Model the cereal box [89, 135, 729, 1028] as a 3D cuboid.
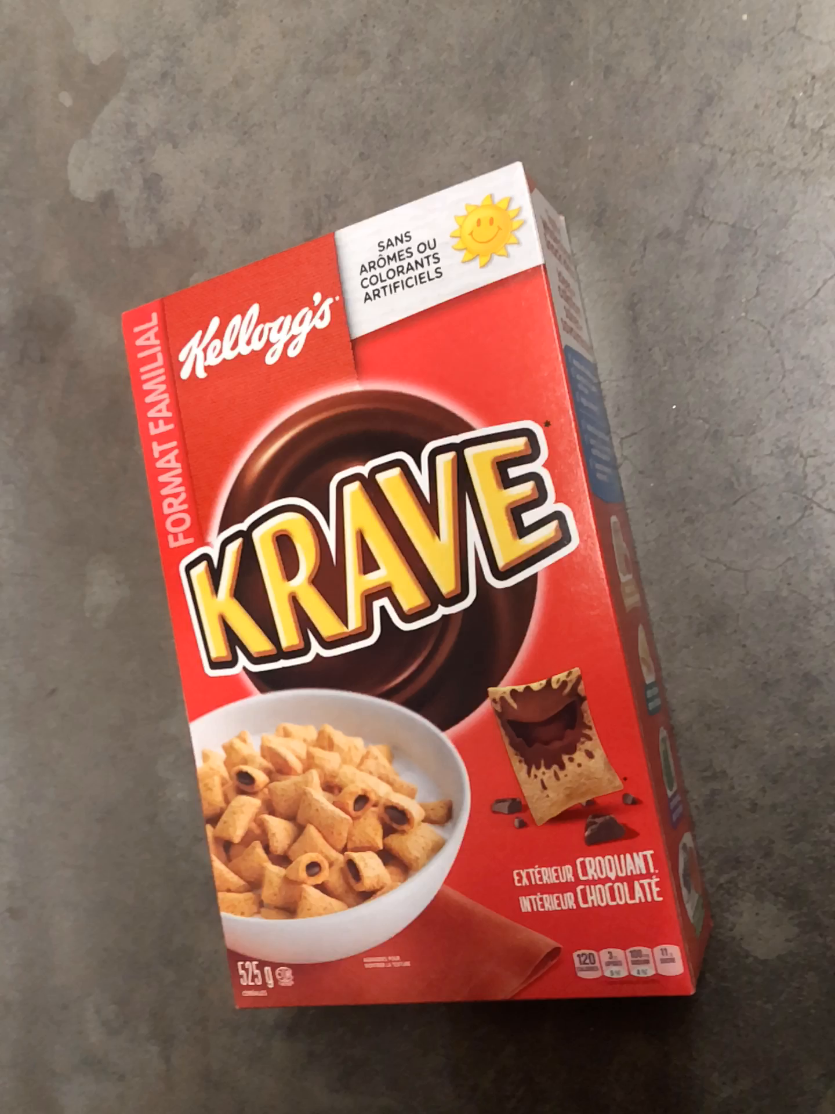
[{"bbox_3d":[-0.009,0.022,0.386,0.200,0.070,0.310,-13,86,22],"label":"cereal box"}]
